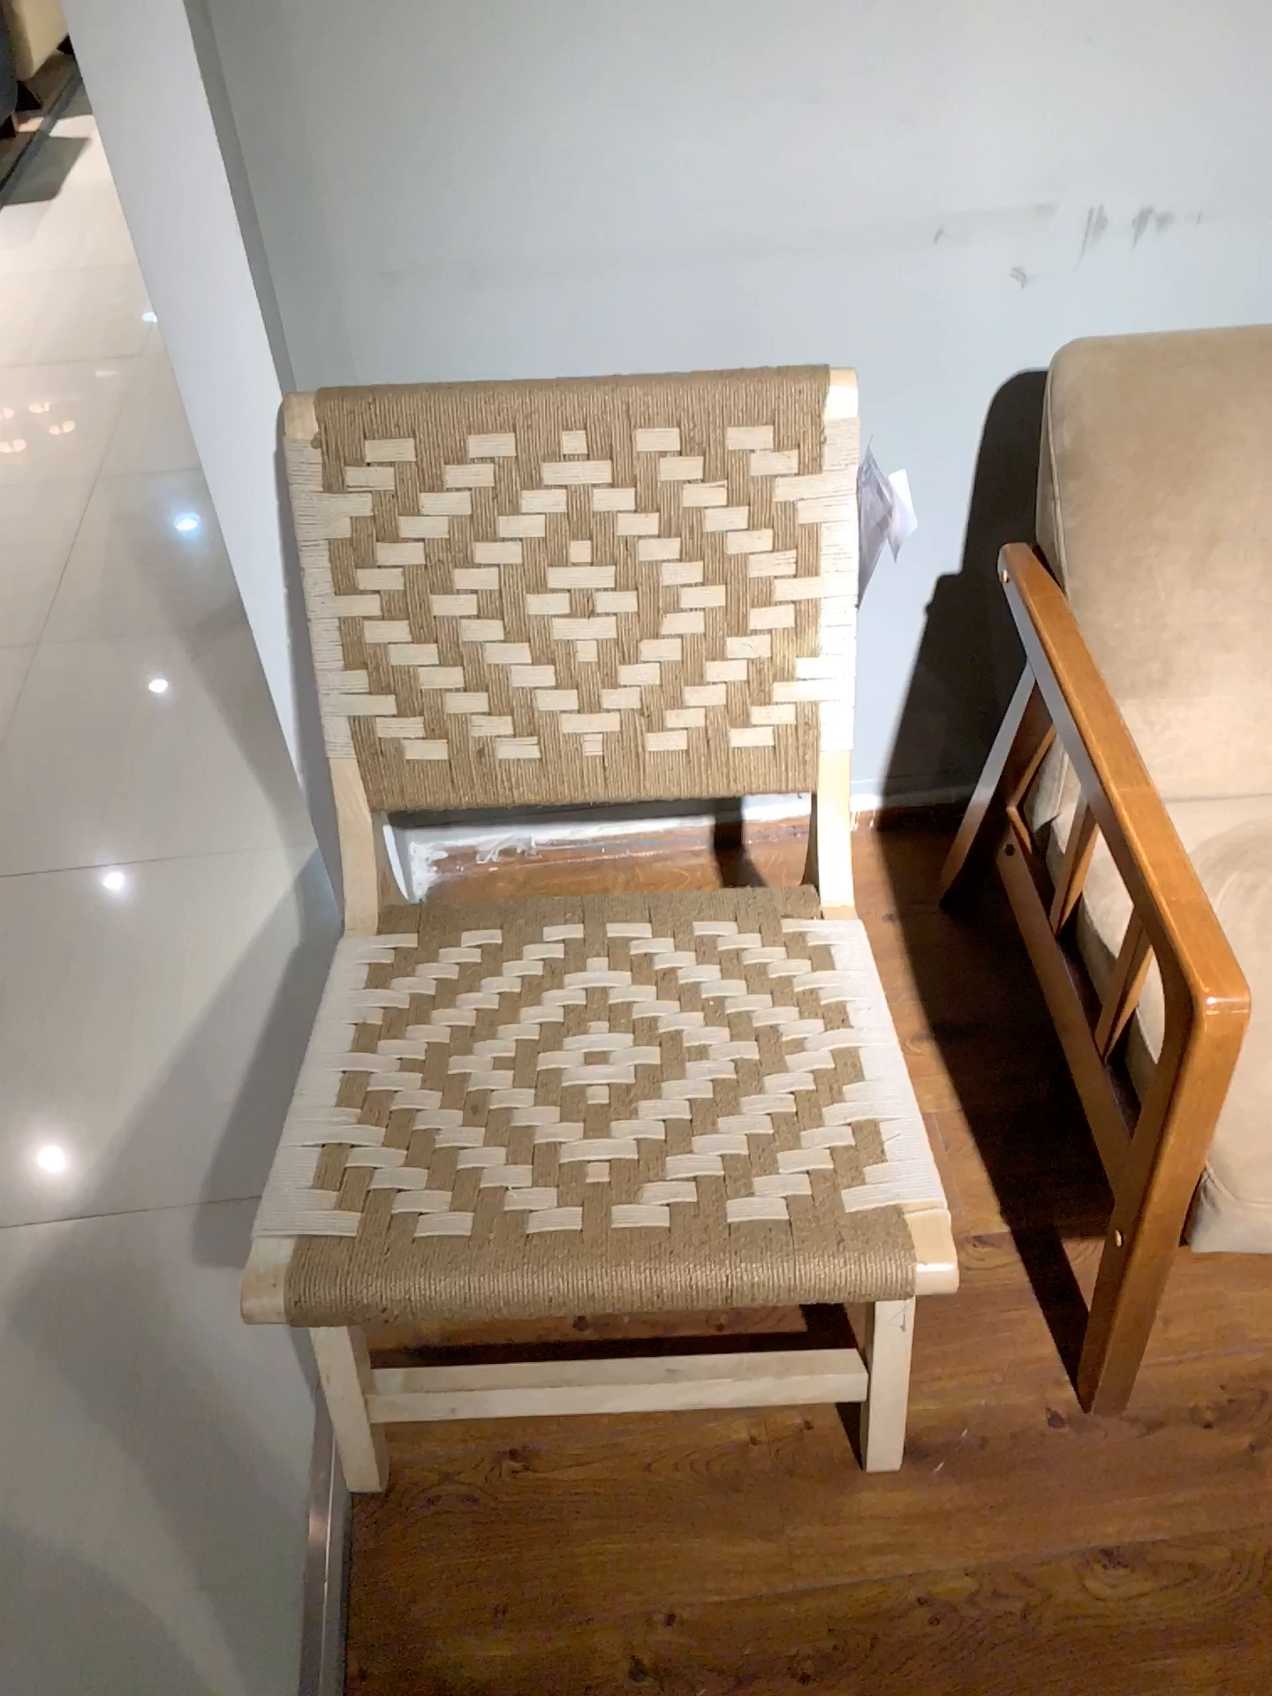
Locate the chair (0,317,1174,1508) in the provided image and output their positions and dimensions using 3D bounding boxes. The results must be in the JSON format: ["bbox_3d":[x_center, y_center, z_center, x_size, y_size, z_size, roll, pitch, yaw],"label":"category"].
[{"bbox_3d":[-0.036,0.090,1.189,0.630,0.847,0.662,-3,45,0],"label":"chair"}]
